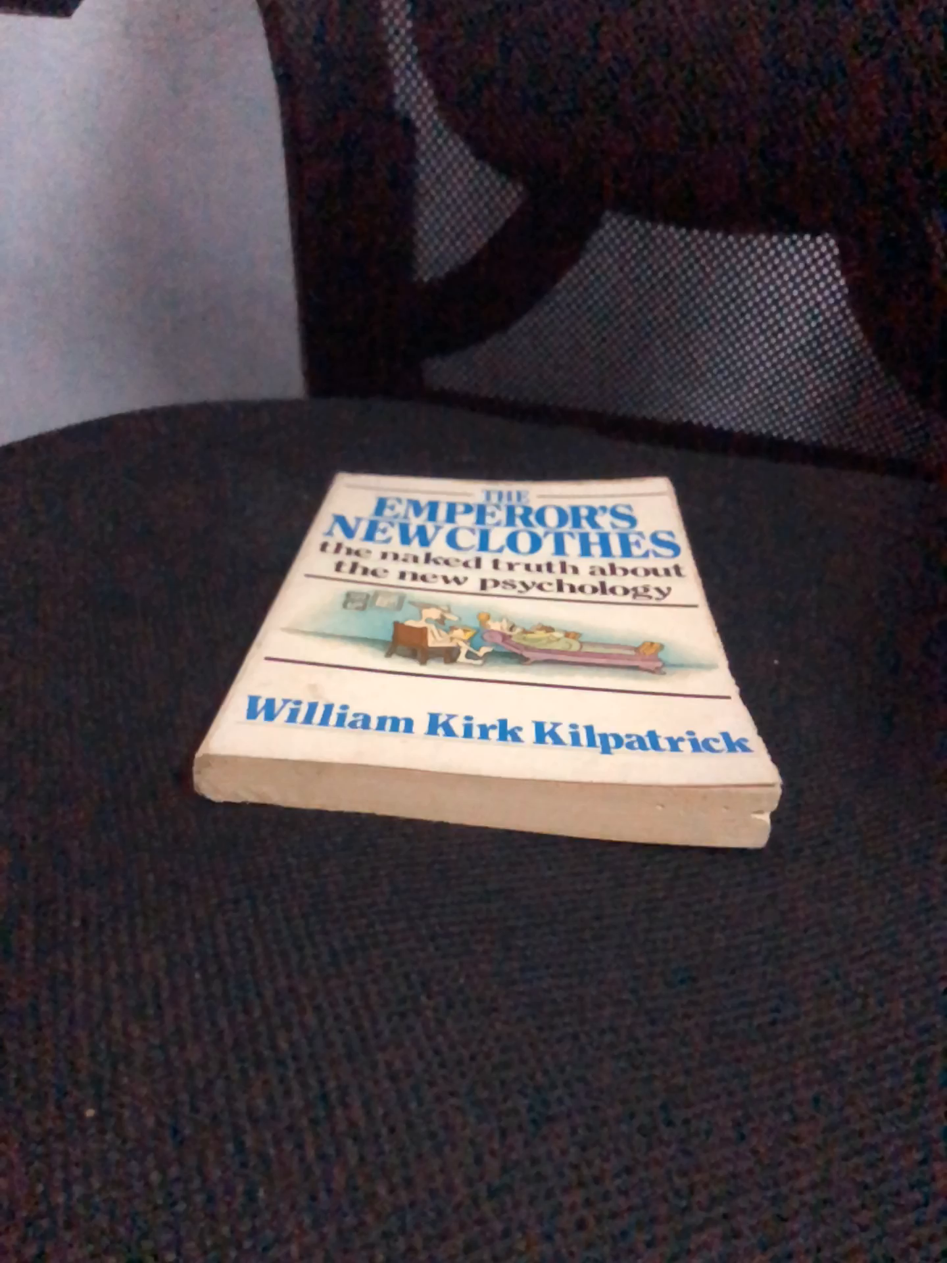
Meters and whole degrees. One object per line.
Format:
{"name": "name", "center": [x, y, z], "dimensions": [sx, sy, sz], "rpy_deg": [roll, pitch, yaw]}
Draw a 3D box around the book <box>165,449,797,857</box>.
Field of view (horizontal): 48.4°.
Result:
{"name": "book", "center": [0.007, -0.012, 0.348], "dimensions": [0.144, 0.020, 0.231], "rpy_deg": [4, 26, 1]}
